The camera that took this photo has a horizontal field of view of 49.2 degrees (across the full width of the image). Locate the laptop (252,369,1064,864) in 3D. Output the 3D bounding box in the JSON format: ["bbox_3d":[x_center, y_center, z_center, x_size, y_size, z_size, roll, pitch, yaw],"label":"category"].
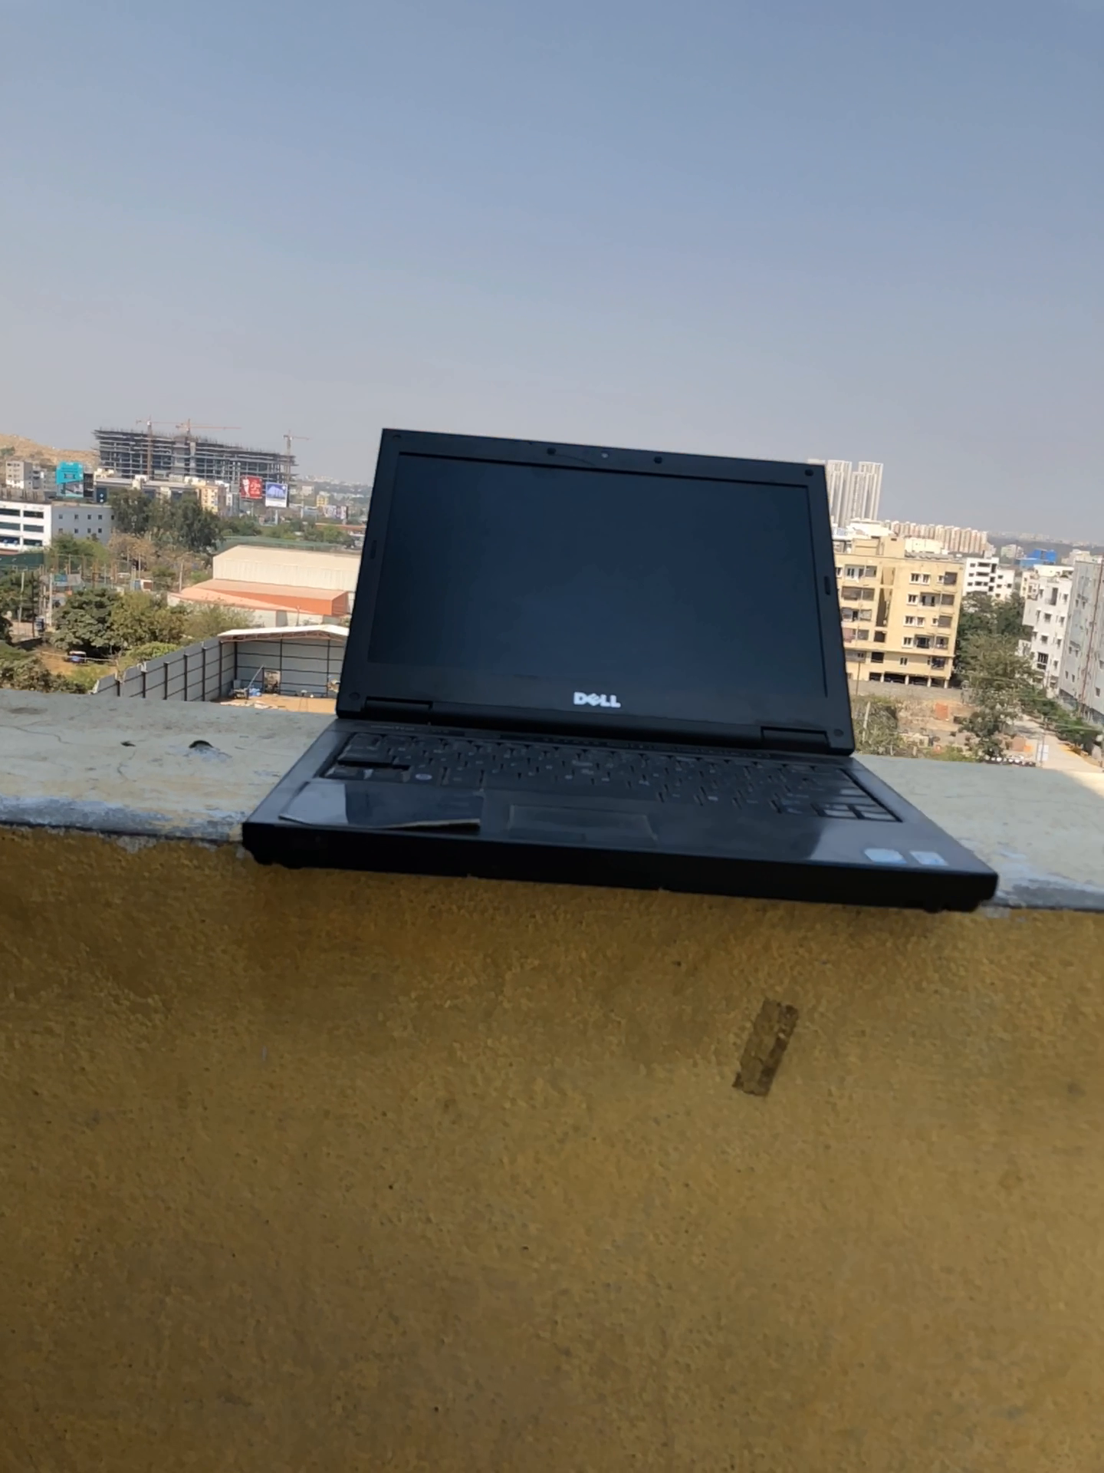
[{"bbox_3d":[0.039,-0.073,0.654,0.301,0.178,0.376,3,9,-1],"label":"laptop"}]
